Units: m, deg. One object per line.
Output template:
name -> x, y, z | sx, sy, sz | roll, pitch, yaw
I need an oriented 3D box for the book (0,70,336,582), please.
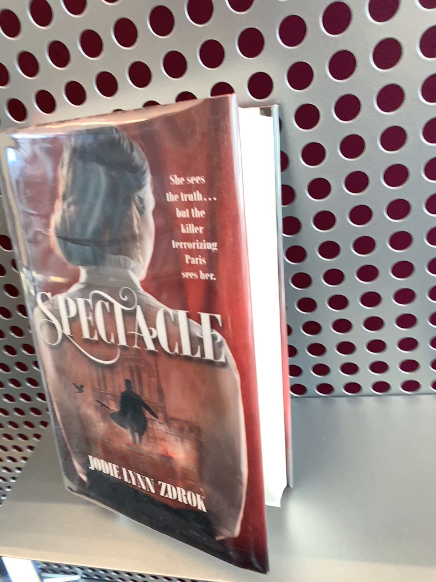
book -> -0.028, 0.018, 0.236 | 0.154, 0.212, 0.059 | 4, 20, 33
